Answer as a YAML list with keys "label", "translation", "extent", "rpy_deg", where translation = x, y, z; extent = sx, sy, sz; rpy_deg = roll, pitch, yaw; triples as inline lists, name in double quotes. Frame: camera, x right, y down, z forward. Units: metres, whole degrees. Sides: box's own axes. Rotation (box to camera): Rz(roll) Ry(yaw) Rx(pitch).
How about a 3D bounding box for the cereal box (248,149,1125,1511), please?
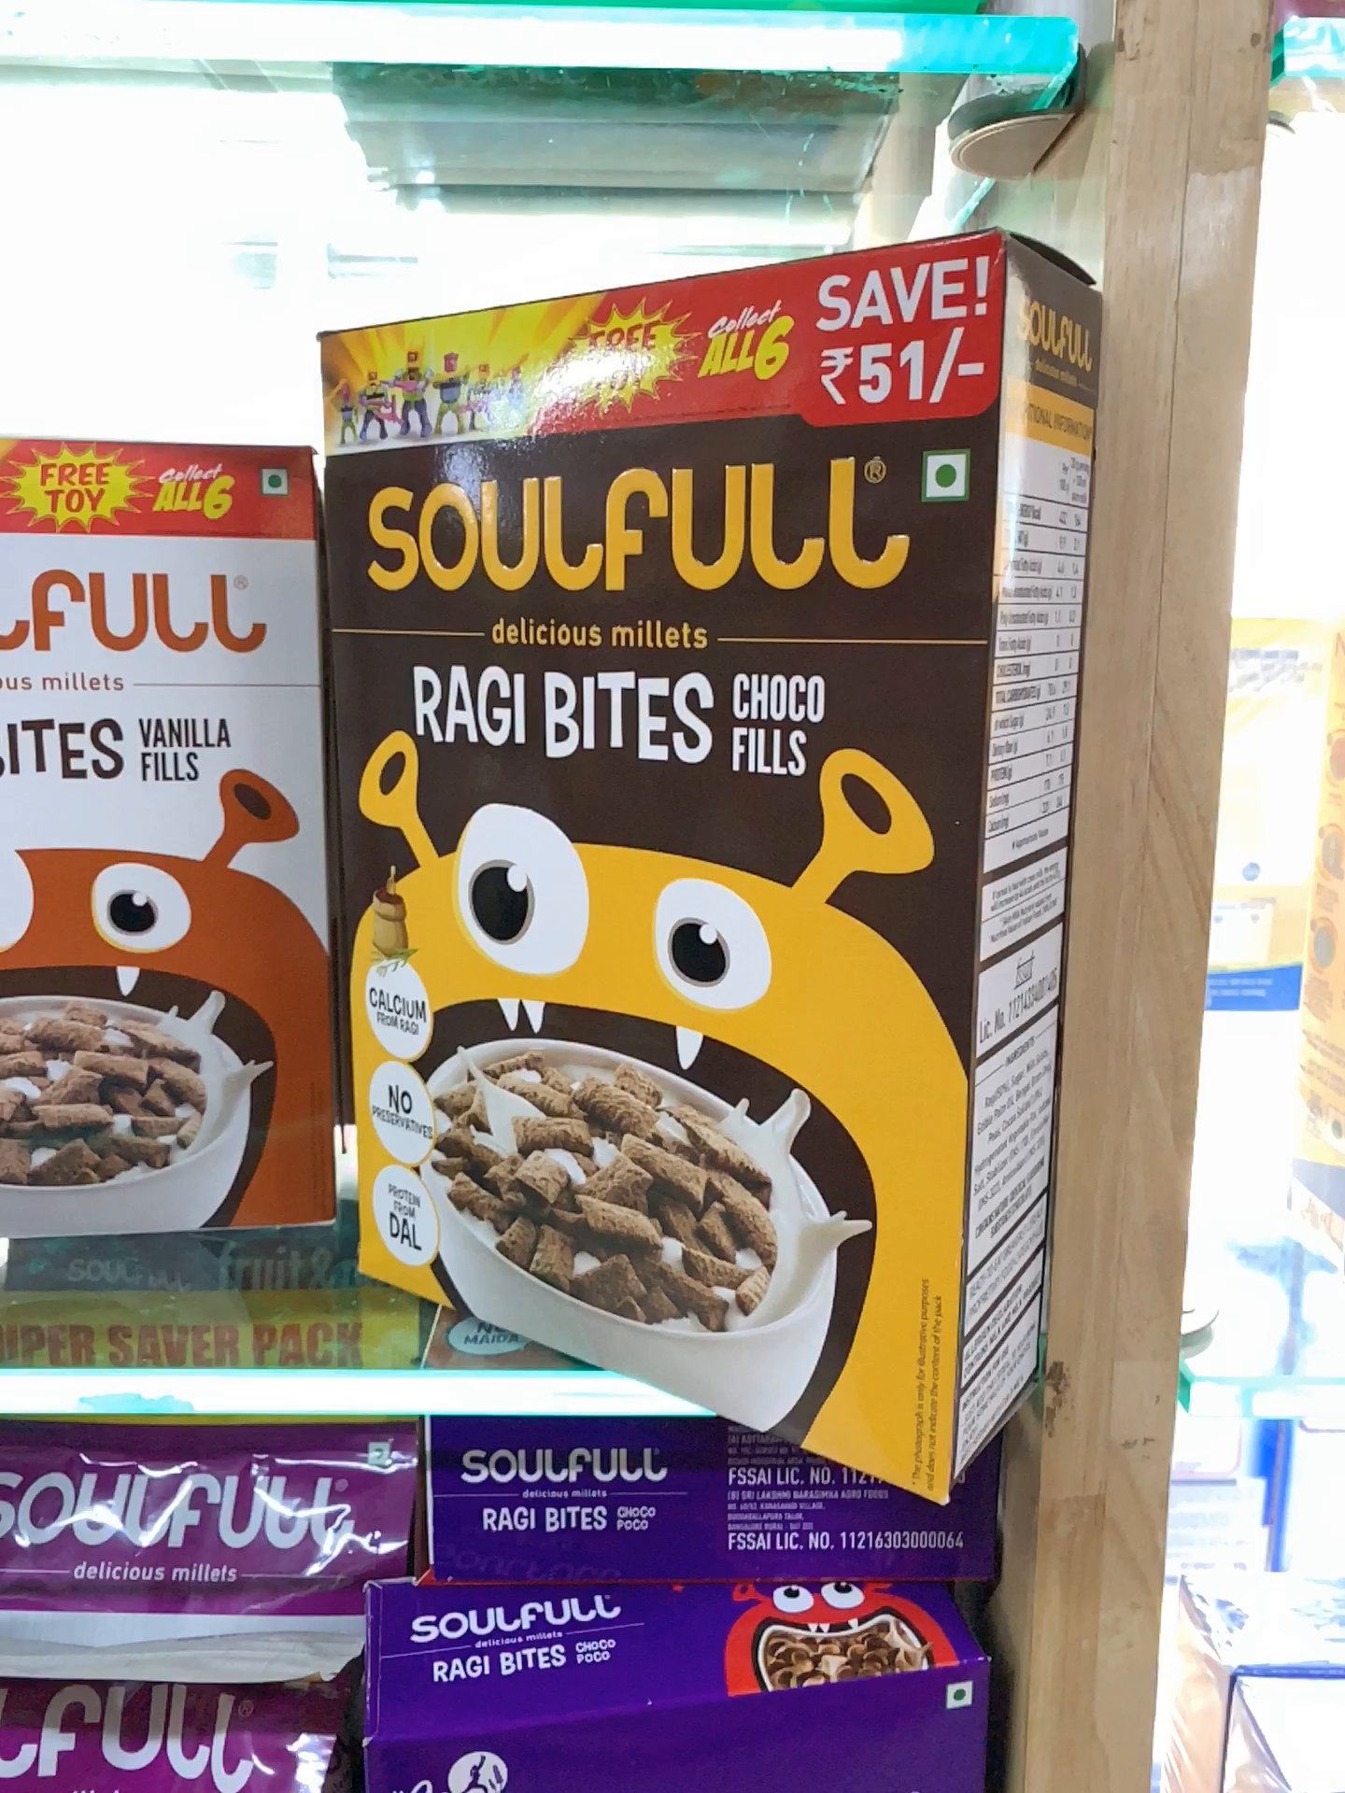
- label: "cereal box"
  translation: [-0.007, -0.017, 0.322]
  extent: [0.190, 0.239, 0.060]
  rpy_deg: [8, 13, 36]
